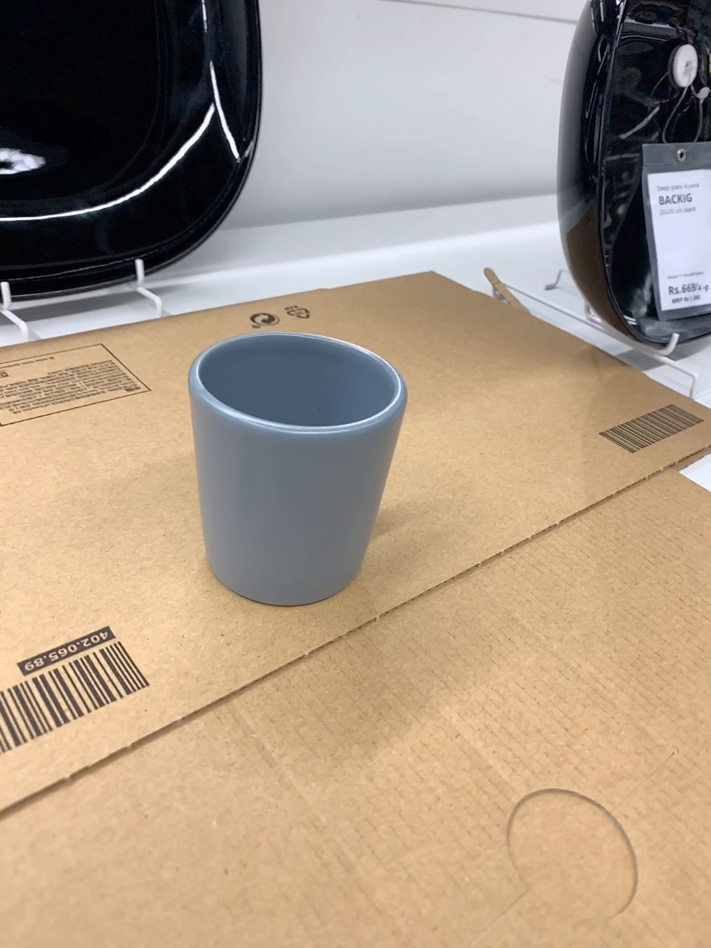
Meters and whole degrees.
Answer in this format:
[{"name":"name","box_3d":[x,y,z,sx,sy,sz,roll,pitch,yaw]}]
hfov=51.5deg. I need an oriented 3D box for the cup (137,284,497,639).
[{"name":"cup","box_3d":[-0.010,-0.010,0.215,0.060,0.060,0.080,26,37,28]}]
